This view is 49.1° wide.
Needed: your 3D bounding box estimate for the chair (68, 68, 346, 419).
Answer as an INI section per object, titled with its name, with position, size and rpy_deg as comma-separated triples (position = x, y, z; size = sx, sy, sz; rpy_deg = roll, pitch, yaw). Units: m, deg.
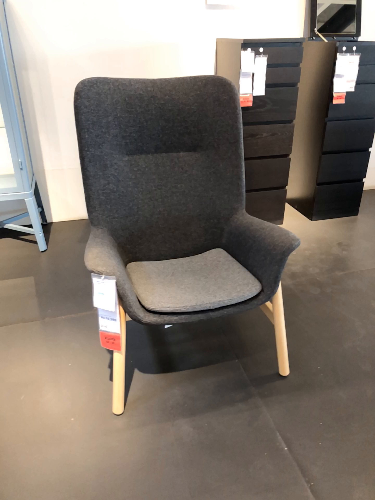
[chair]
position = -0.010, -0.090, 1.579
size = 0.720, 1.063, 0.714
rpy_deg = -7, 28, -14
